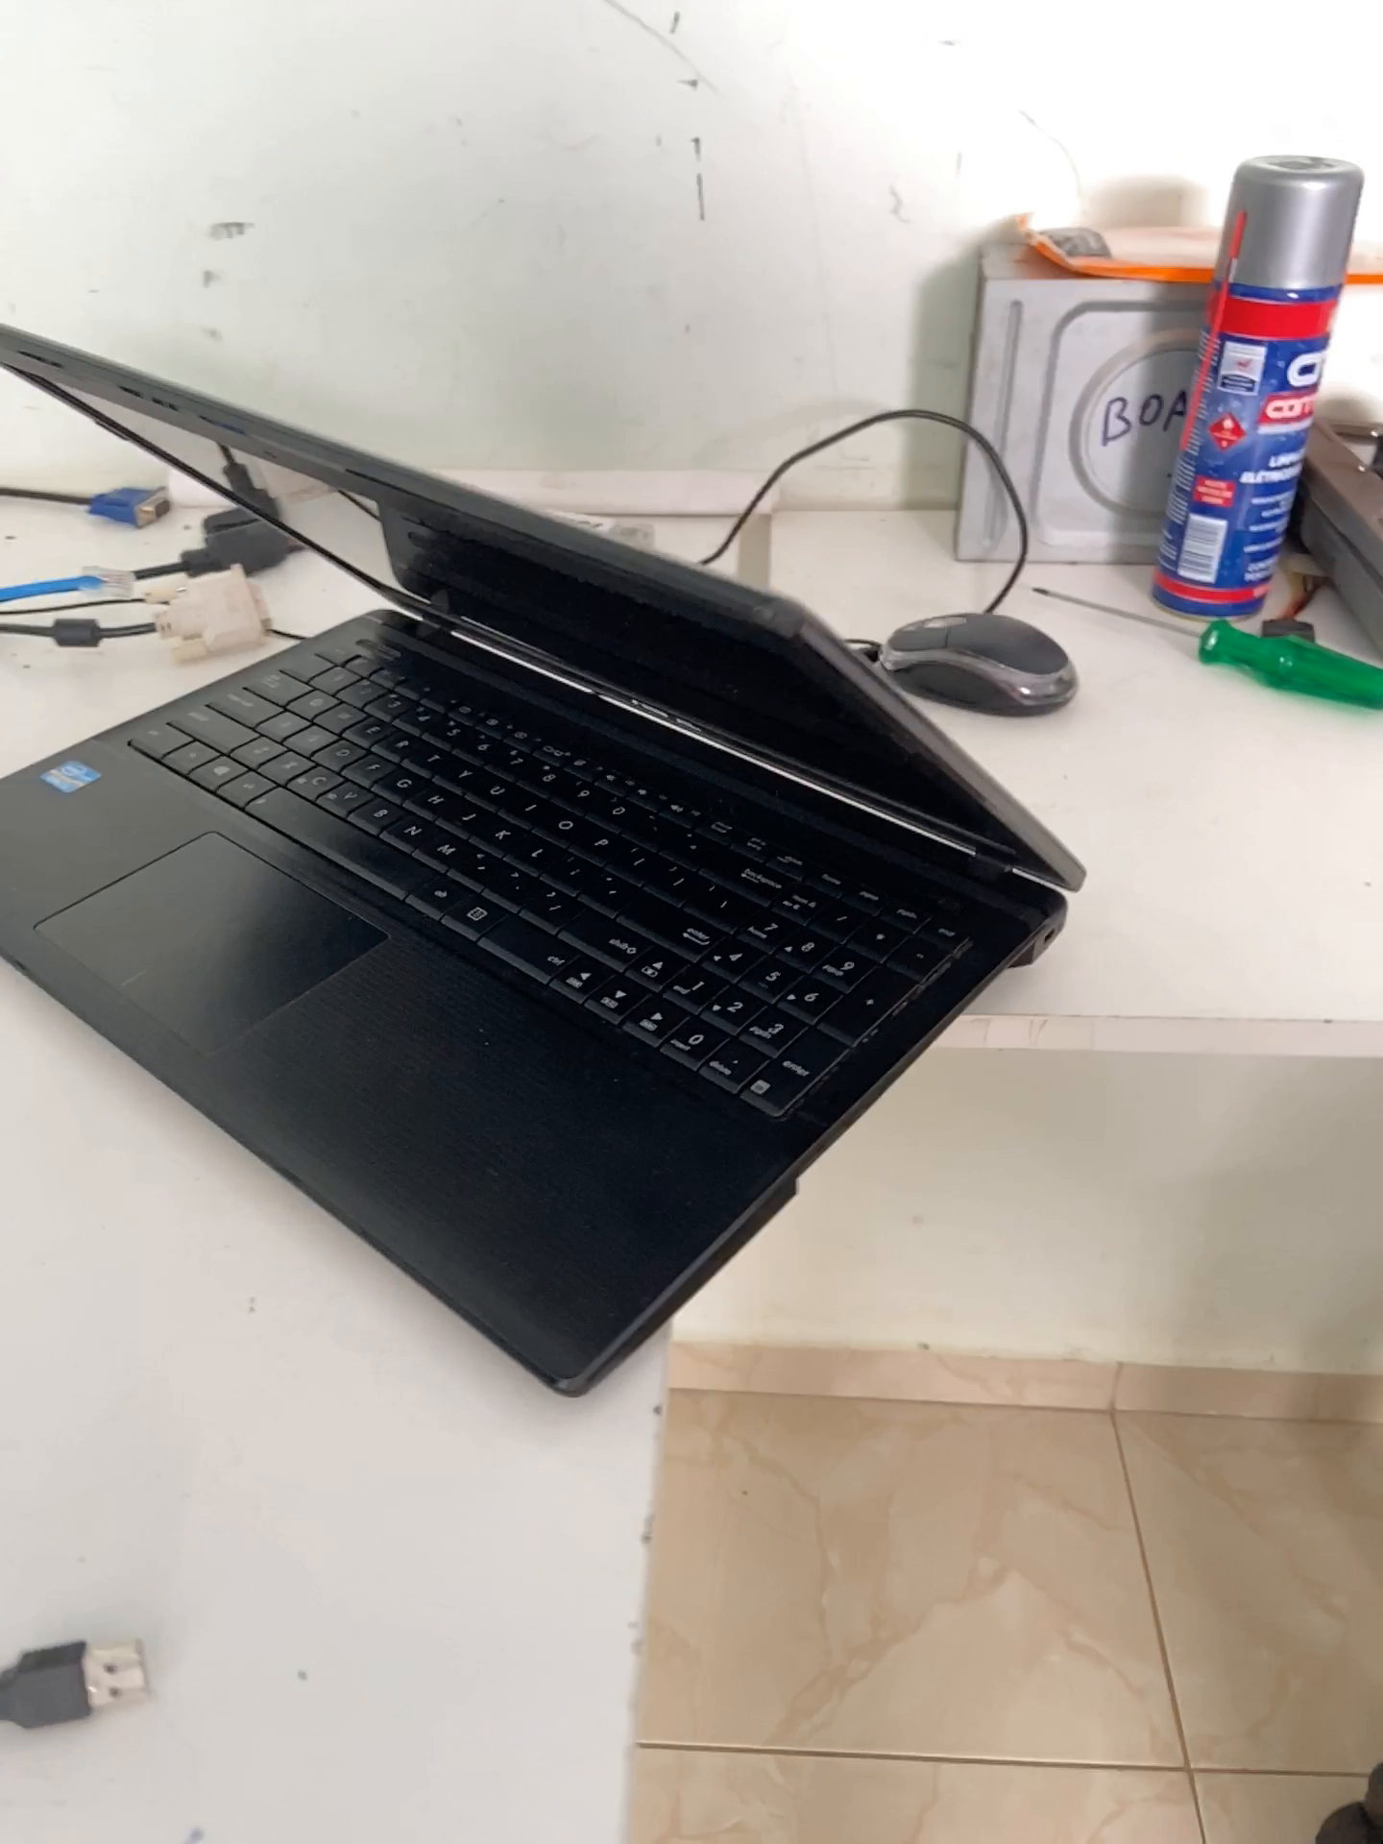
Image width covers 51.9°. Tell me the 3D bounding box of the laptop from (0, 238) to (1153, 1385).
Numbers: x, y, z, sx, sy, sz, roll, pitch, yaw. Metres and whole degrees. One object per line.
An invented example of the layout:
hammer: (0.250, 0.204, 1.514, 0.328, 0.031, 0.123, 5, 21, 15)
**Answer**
laptop: (-0.094, -0.086, 0.475, 0.376, 0.165, 0.248, 27, 47, 32)
